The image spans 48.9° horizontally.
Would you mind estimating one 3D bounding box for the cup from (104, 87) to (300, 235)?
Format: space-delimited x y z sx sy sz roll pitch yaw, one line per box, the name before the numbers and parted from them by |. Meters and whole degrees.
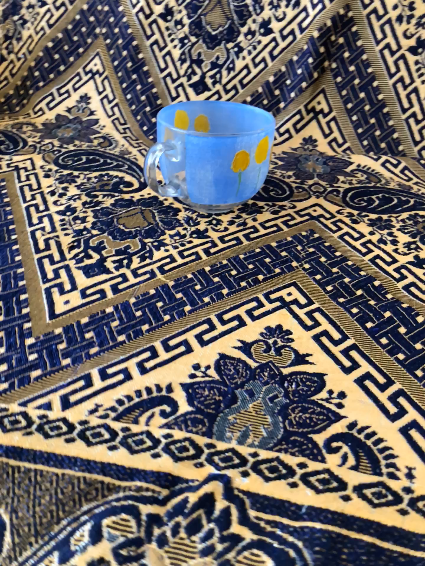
cup | -0.009 -0.122 0.437 0.108 0.072 0.139 34 46 31
